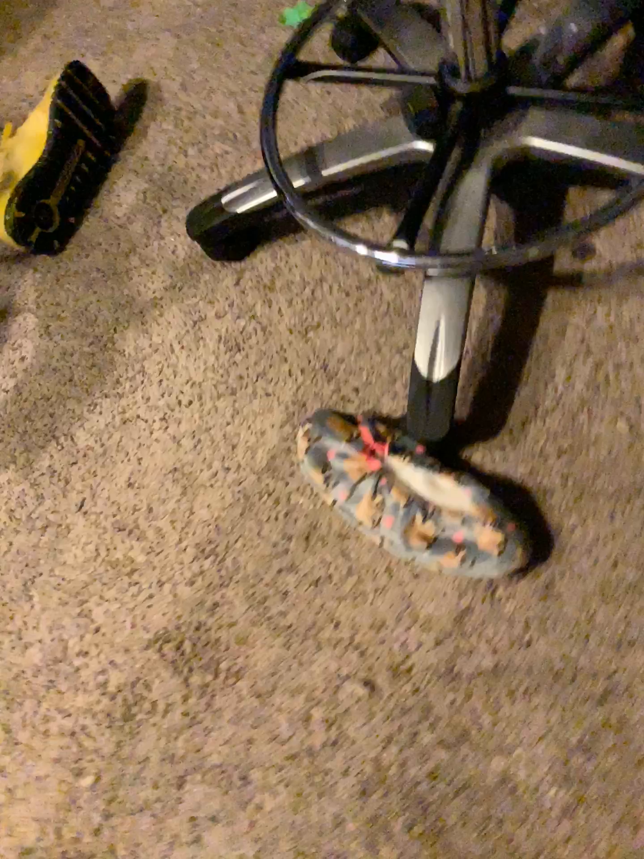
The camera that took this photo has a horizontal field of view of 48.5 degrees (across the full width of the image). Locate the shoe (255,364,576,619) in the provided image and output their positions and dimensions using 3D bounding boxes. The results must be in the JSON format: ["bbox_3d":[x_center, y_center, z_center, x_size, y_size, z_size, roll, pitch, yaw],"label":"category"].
[{"bbox_3d":[0.083,0.051,0.665,0.260,0.070,0.120,26,76,25],"label":"shoe"}]
